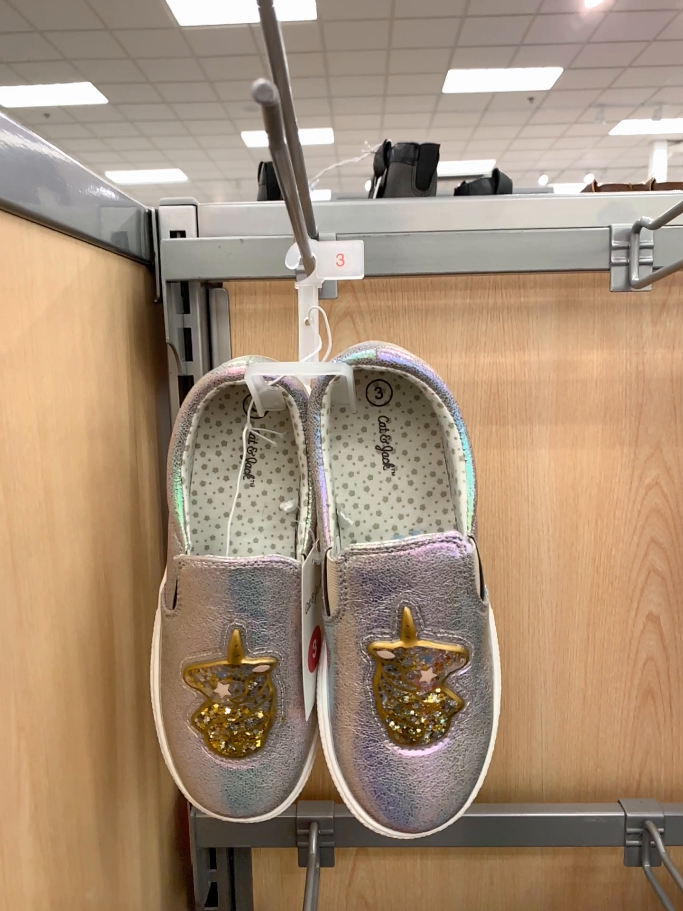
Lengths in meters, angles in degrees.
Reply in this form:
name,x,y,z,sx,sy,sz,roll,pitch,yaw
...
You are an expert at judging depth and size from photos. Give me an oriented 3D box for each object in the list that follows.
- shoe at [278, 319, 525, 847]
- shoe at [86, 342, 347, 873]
name,x,y,z,sx,sy,sz,roll,pitch,yaw
shoe,0.024,0.051,0.352,0.100,0.221,0.113,-2,4,-2
shoe,-0.053,0.061,0.350,0.100,0.221,0.113,-2,4,-2
